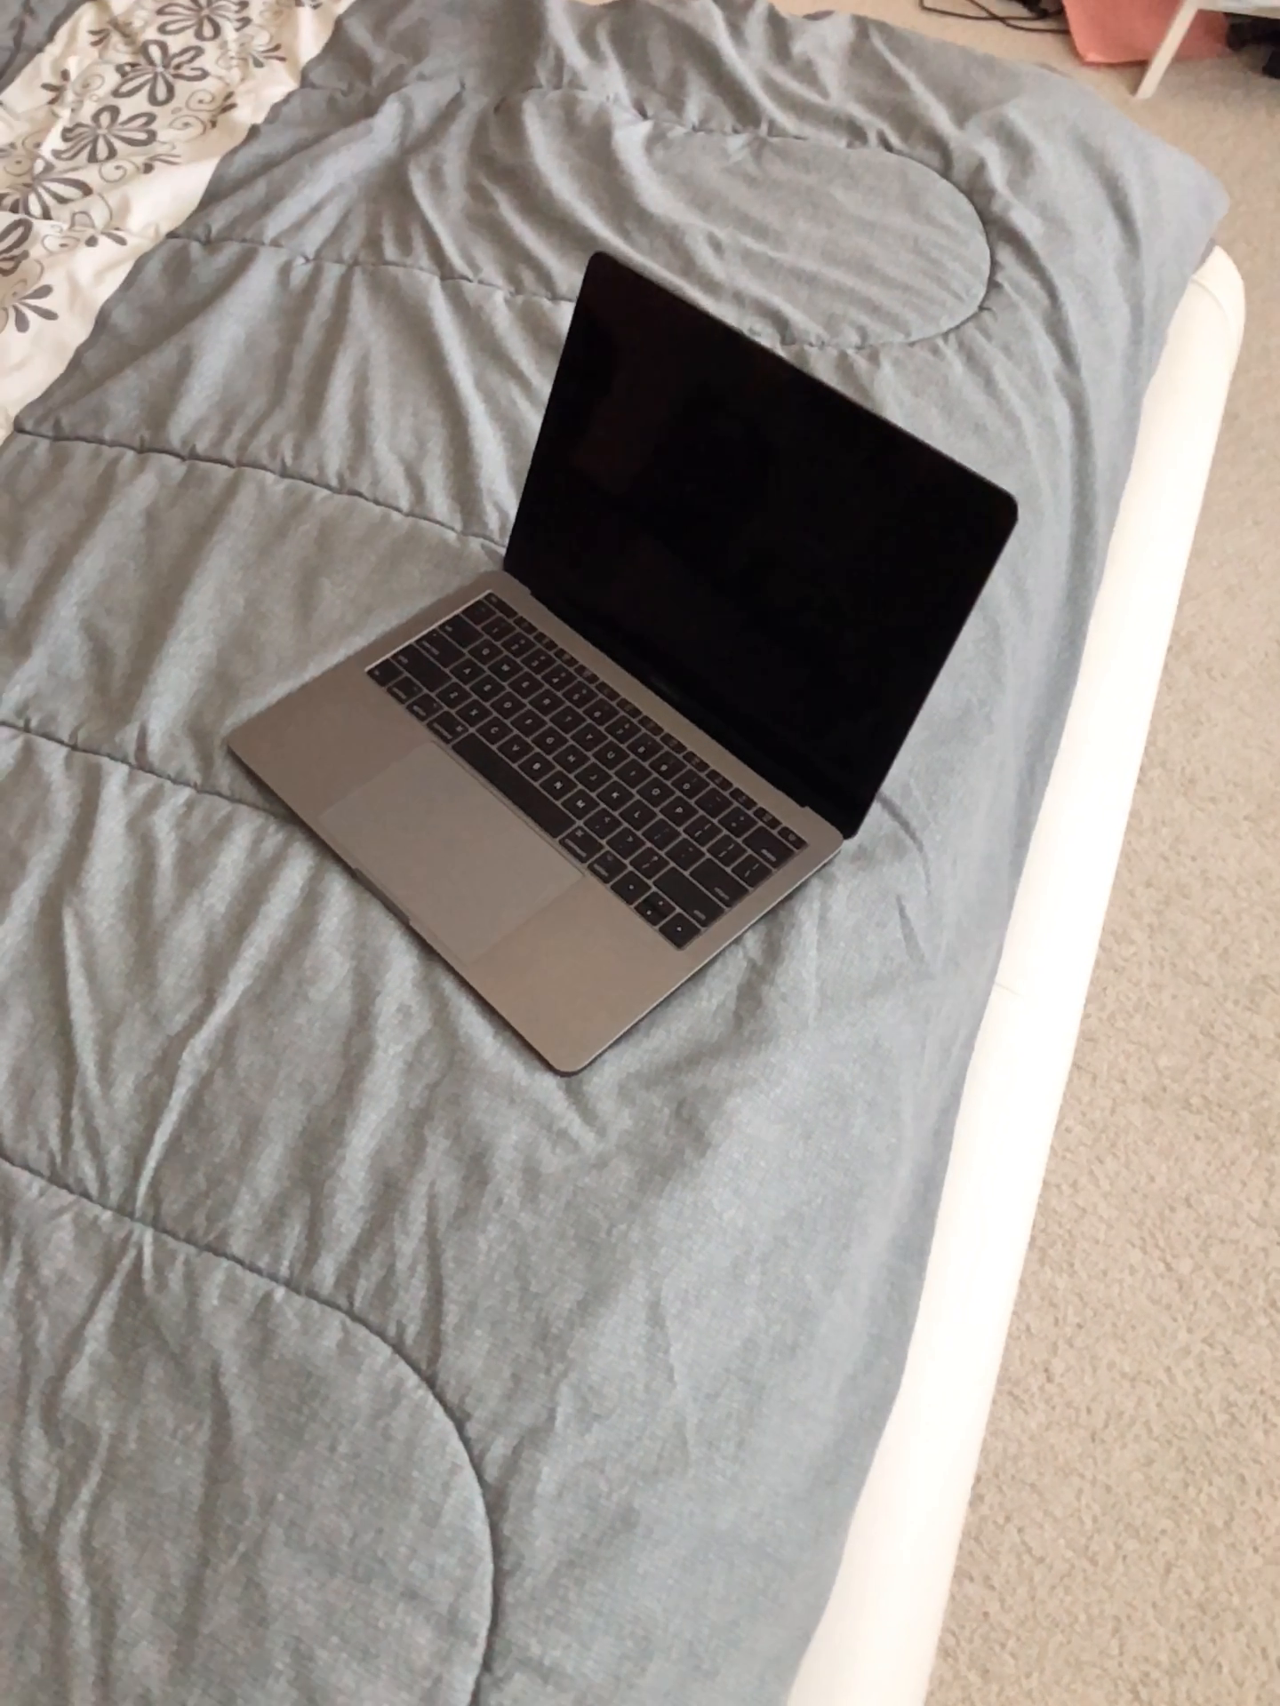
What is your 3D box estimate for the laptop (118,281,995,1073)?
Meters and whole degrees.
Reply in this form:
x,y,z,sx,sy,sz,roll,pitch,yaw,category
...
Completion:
x,y,z,sx,sy,sz,roll,pitch,yaw,category
-0.033,-0.101,0.706,0.281,0.159,0.280,-39,63,-22,laptop
